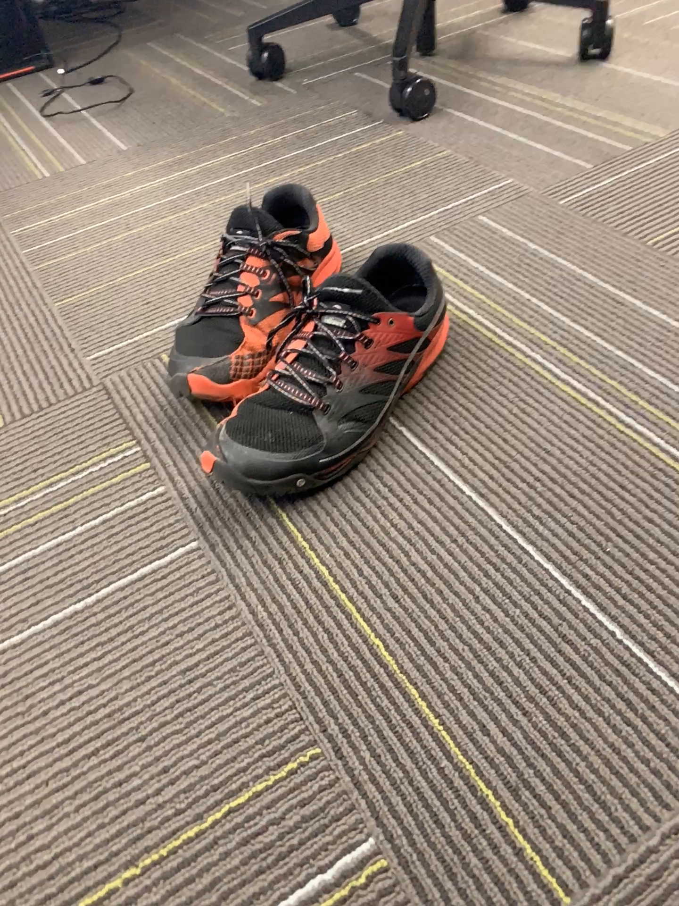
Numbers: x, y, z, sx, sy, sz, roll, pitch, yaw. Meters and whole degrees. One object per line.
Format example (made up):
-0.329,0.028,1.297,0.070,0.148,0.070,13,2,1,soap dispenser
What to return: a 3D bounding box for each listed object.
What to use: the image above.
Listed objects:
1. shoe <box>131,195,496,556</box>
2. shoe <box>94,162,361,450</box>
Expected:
-0.001,-0.086,0.616,0.131,0.129,0.321,25,55,30,shoe
-0.092,-0.167,0.716,0.130,0.129,0.311,9,48,18,shoe
